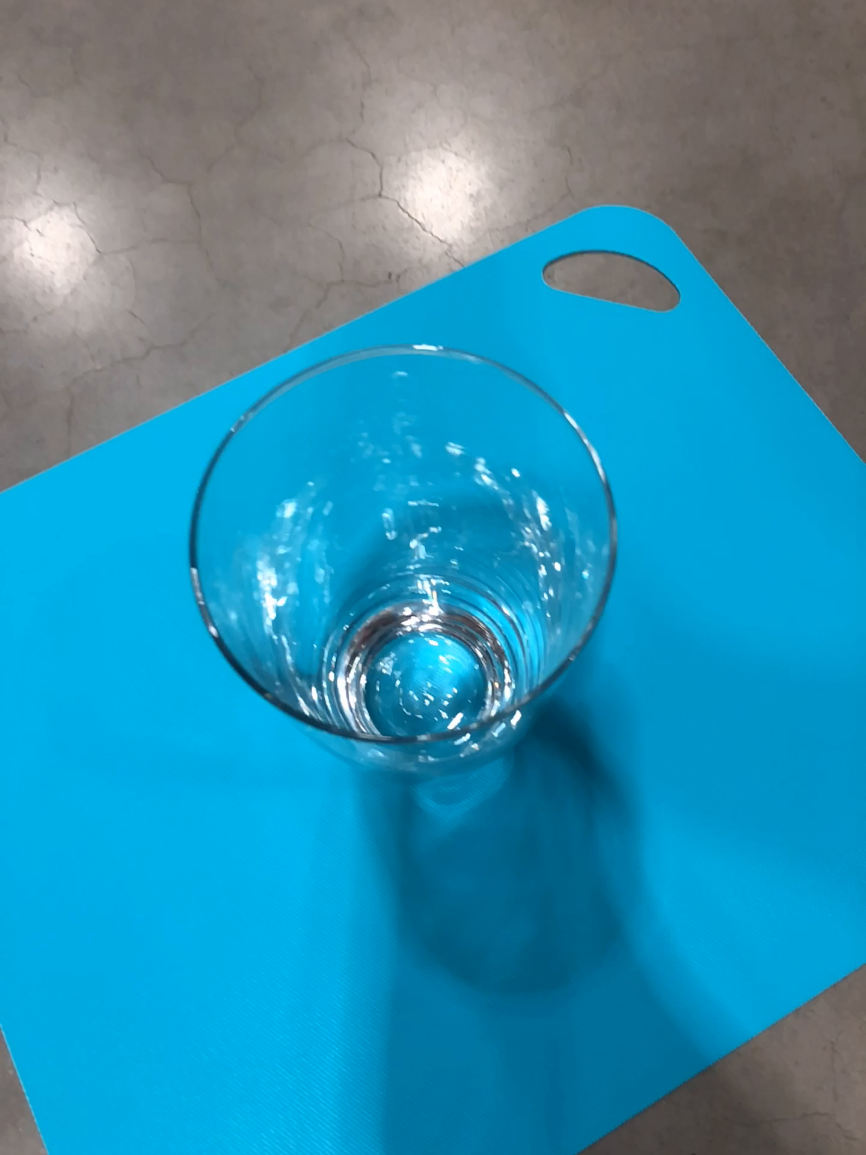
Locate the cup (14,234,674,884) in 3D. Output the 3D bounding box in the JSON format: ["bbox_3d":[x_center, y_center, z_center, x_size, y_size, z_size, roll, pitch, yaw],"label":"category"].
[{"bbox_3d":[-0.015,0.012,0.276,0.100,0.160,0.100,-1,69,2],"label":"cup"}]
